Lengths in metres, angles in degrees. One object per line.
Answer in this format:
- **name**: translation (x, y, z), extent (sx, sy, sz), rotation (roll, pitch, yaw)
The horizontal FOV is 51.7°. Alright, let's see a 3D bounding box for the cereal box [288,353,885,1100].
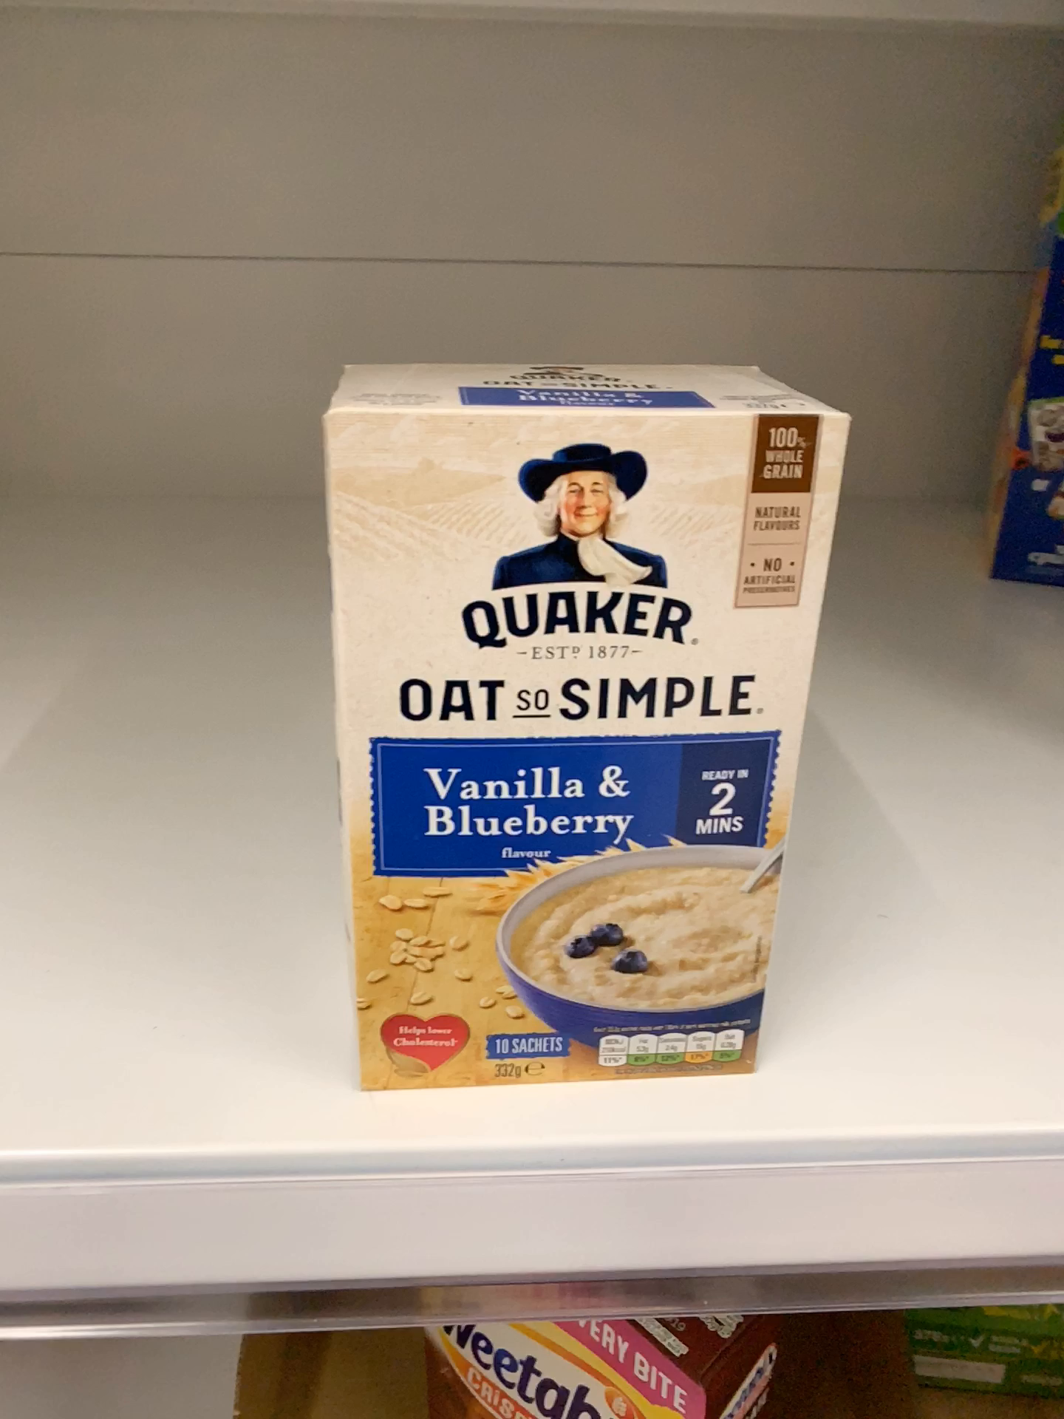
- **cereal box**: translation (0.009, 0.006, 0.335), extent (0.140, 0.208, 0.081), rotation (-1, 25, -5)
